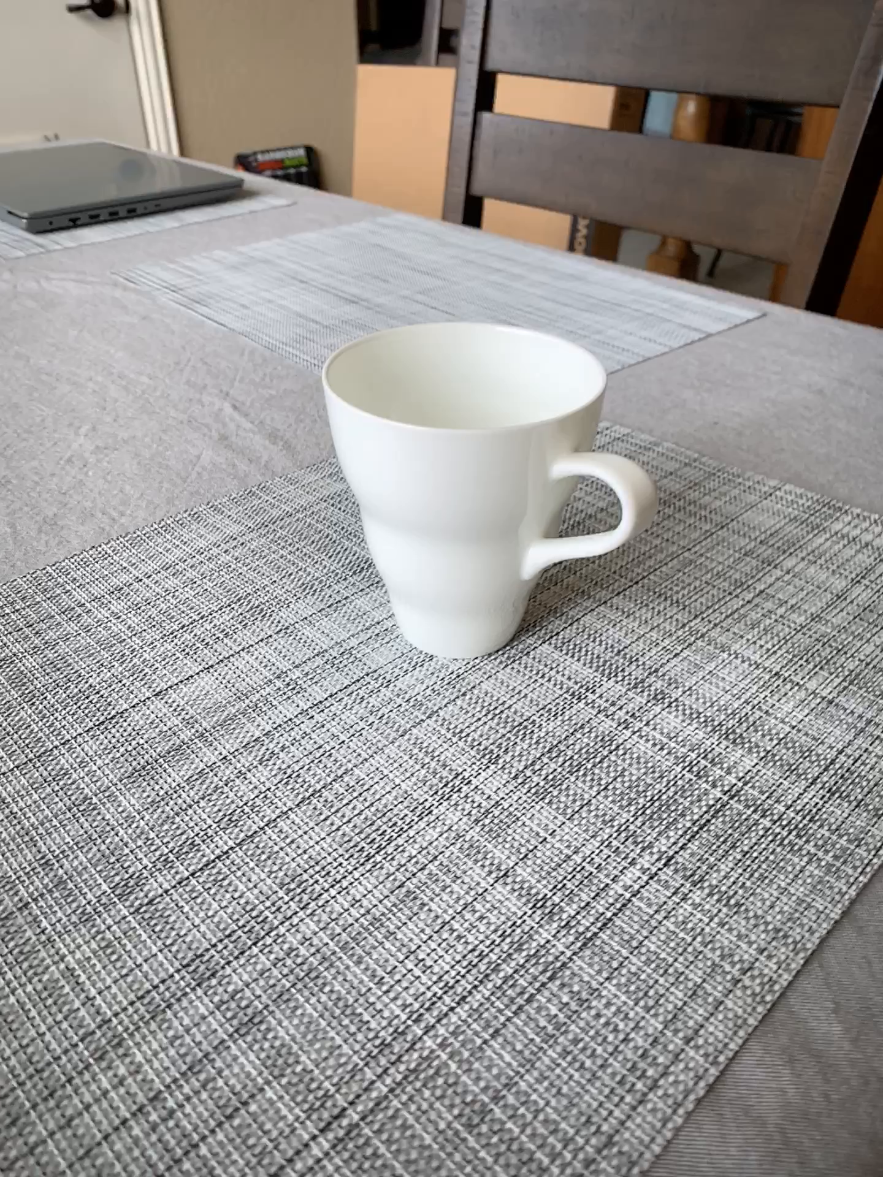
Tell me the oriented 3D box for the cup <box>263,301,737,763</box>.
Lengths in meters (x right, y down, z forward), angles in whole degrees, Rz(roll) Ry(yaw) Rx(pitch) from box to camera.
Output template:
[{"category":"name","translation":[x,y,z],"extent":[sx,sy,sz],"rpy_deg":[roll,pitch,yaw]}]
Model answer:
[{"category":"cup","translation":[0.018,-0.029,0.327],"extent":[0.099,0.098,0.121],"rpy_deg":[-30,44,-34]}]
